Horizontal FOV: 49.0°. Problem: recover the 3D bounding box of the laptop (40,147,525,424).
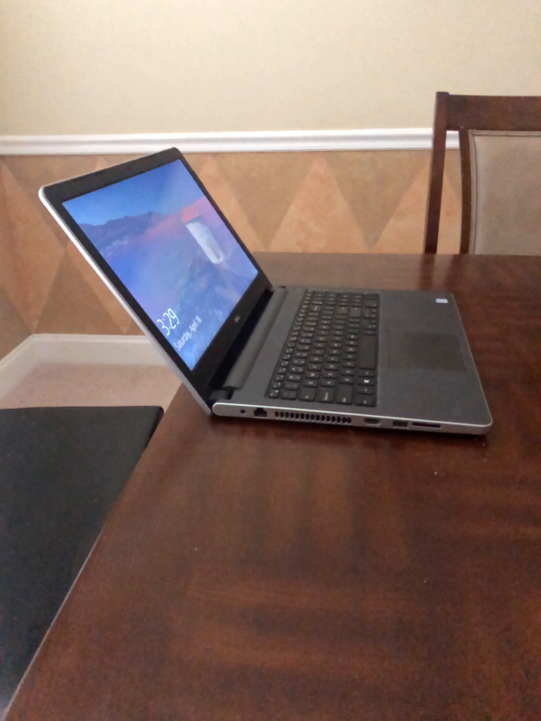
[{"bbox_3d":[0.031,-0.121,0.680,0.391,0.198,0.368,3,25,8],"label":"laptop"}]
